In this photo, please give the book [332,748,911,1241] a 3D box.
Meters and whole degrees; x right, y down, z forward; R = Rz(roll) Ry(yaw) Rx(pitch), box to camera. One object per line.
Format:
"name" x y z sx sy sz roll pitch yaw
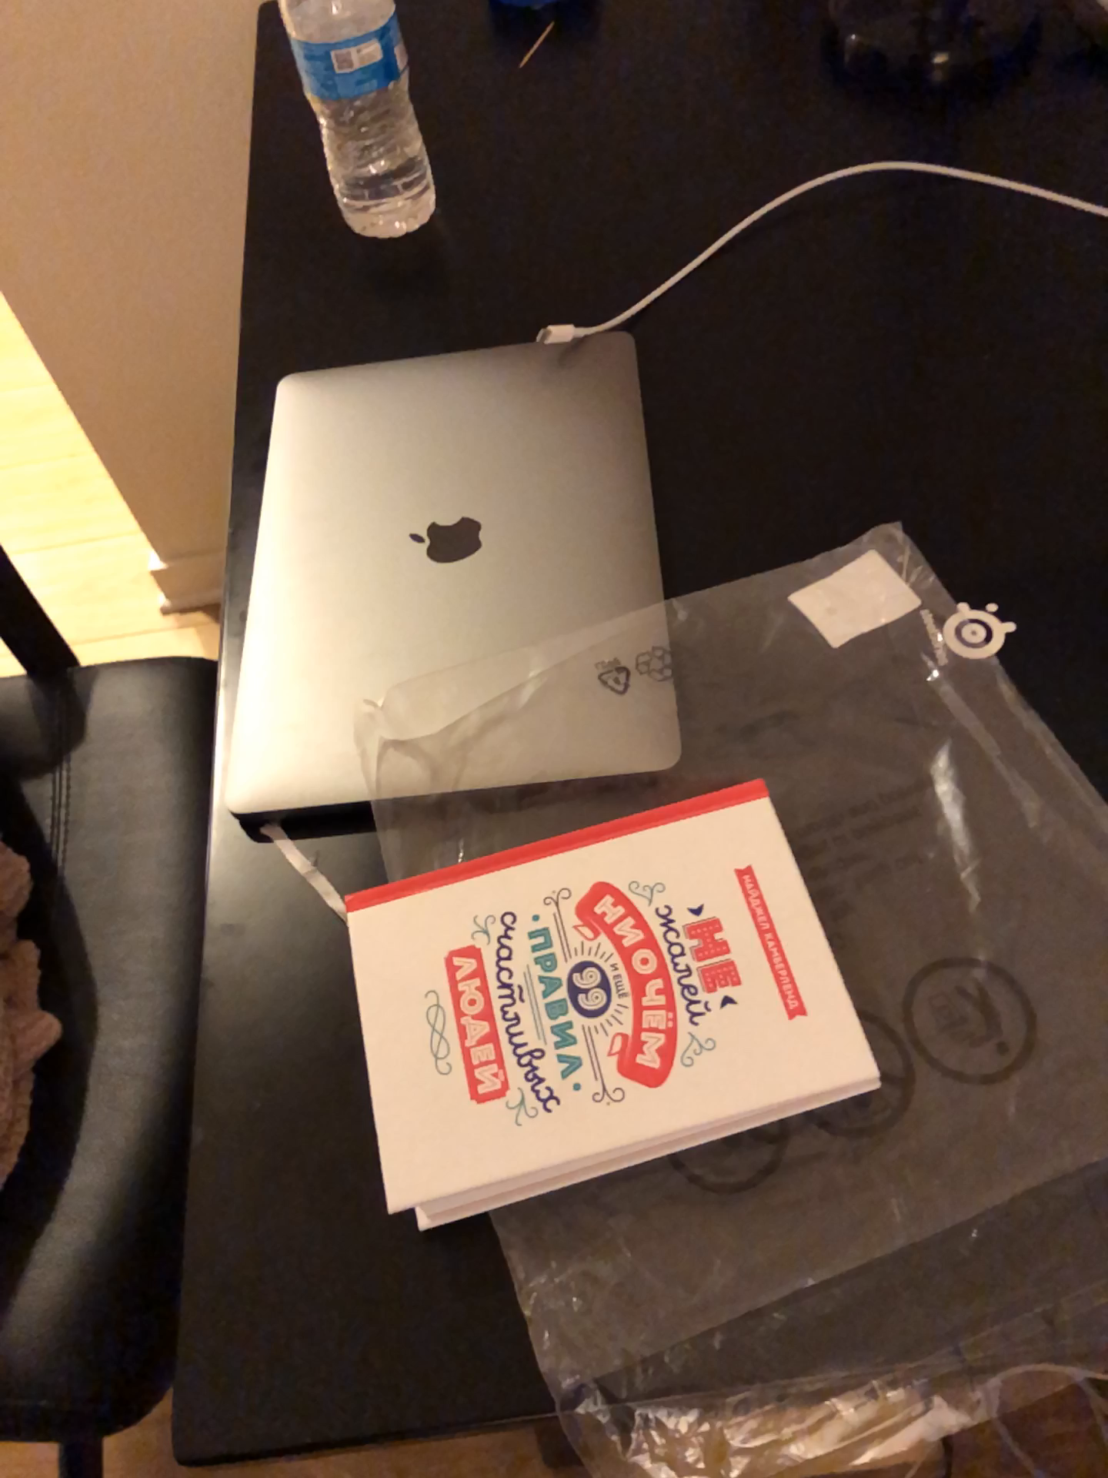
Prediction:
"book" 0.019 0.094 0.480 0.190 0.030 0.141 -16 55 -2
